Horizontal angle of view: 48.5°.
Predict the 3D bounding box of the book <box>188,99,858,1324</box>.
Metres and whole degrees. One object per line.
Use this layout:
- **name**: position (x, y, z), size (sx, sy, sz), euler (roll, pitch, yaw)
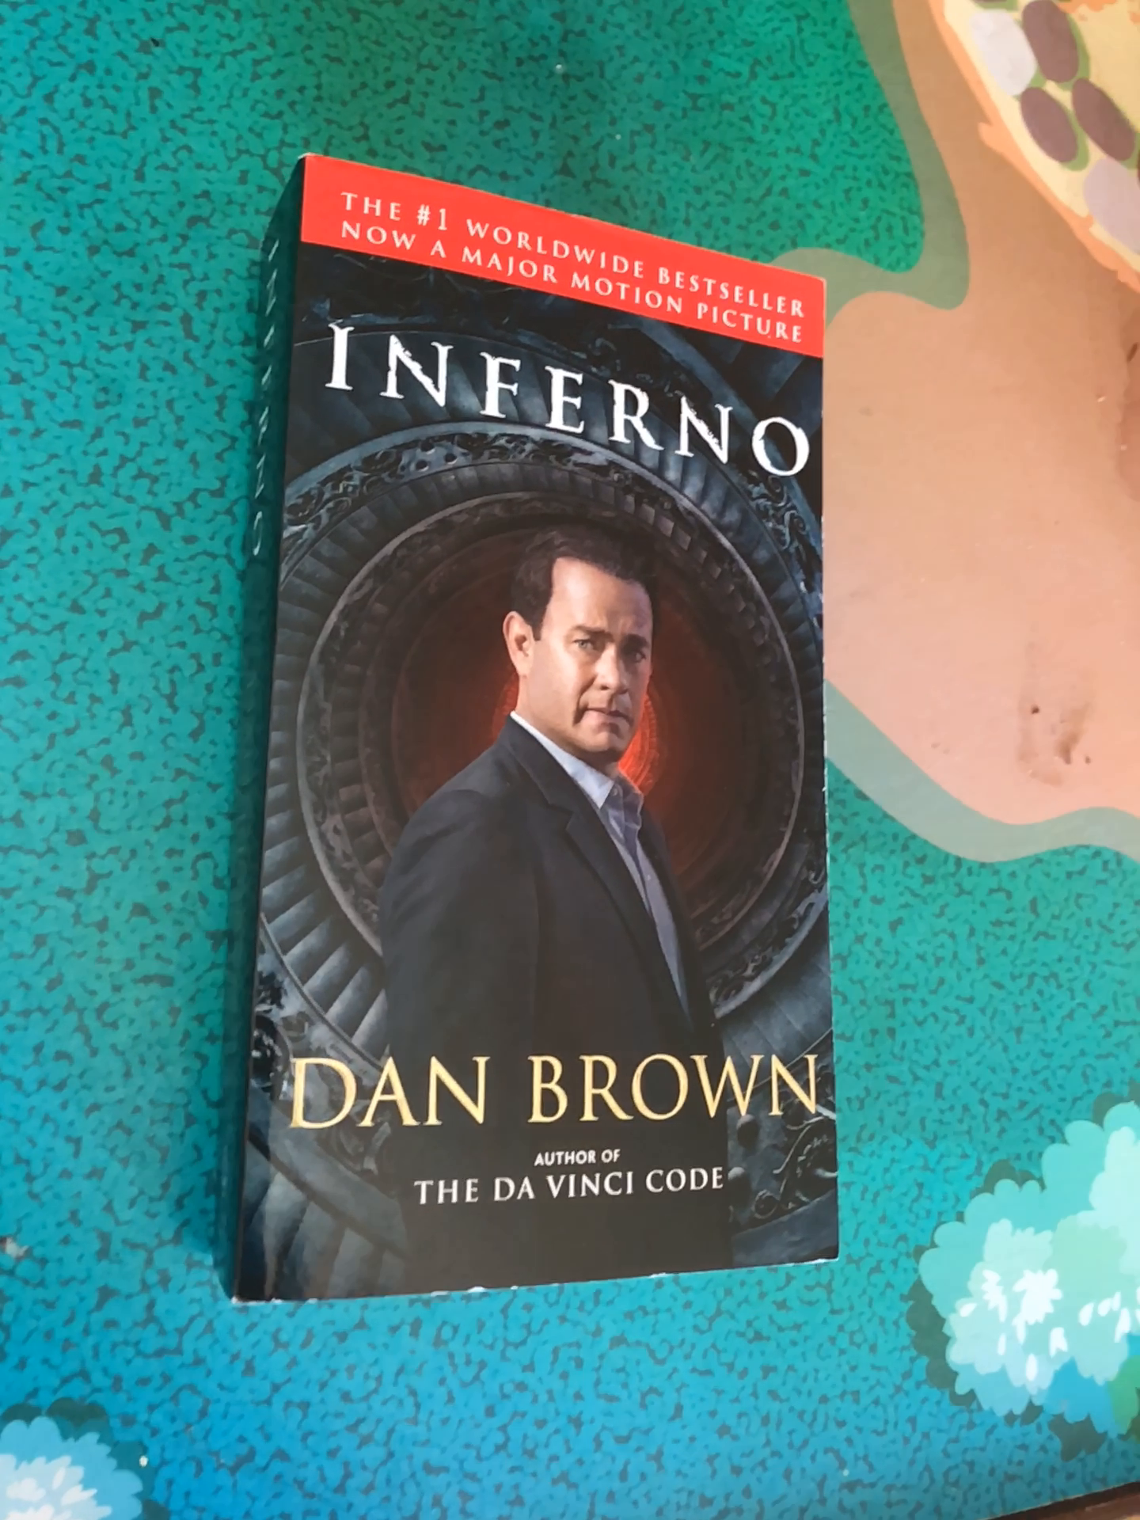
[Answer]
- **book**: position (-0.008, -0.007, 0.252), size (0.110, 0.060, 0.200), euler (6, 80, -23)
